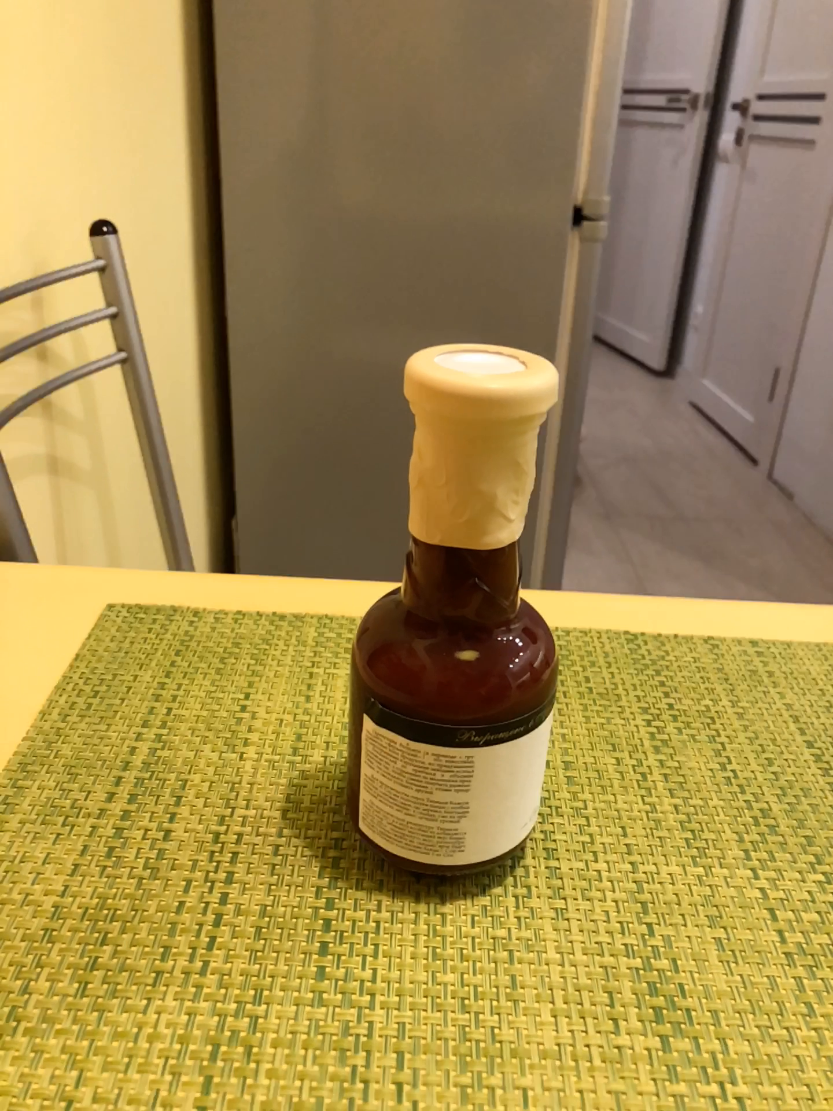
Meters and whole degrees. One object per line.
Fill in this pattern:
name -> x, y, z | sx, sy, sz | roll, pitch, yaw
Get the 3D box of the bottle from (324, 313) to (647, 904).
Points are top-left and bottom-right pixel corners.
bottle -> 0.010, 0.016, 0.277 | 0.070, 0.159, 0.070 | 3, 25, -1
